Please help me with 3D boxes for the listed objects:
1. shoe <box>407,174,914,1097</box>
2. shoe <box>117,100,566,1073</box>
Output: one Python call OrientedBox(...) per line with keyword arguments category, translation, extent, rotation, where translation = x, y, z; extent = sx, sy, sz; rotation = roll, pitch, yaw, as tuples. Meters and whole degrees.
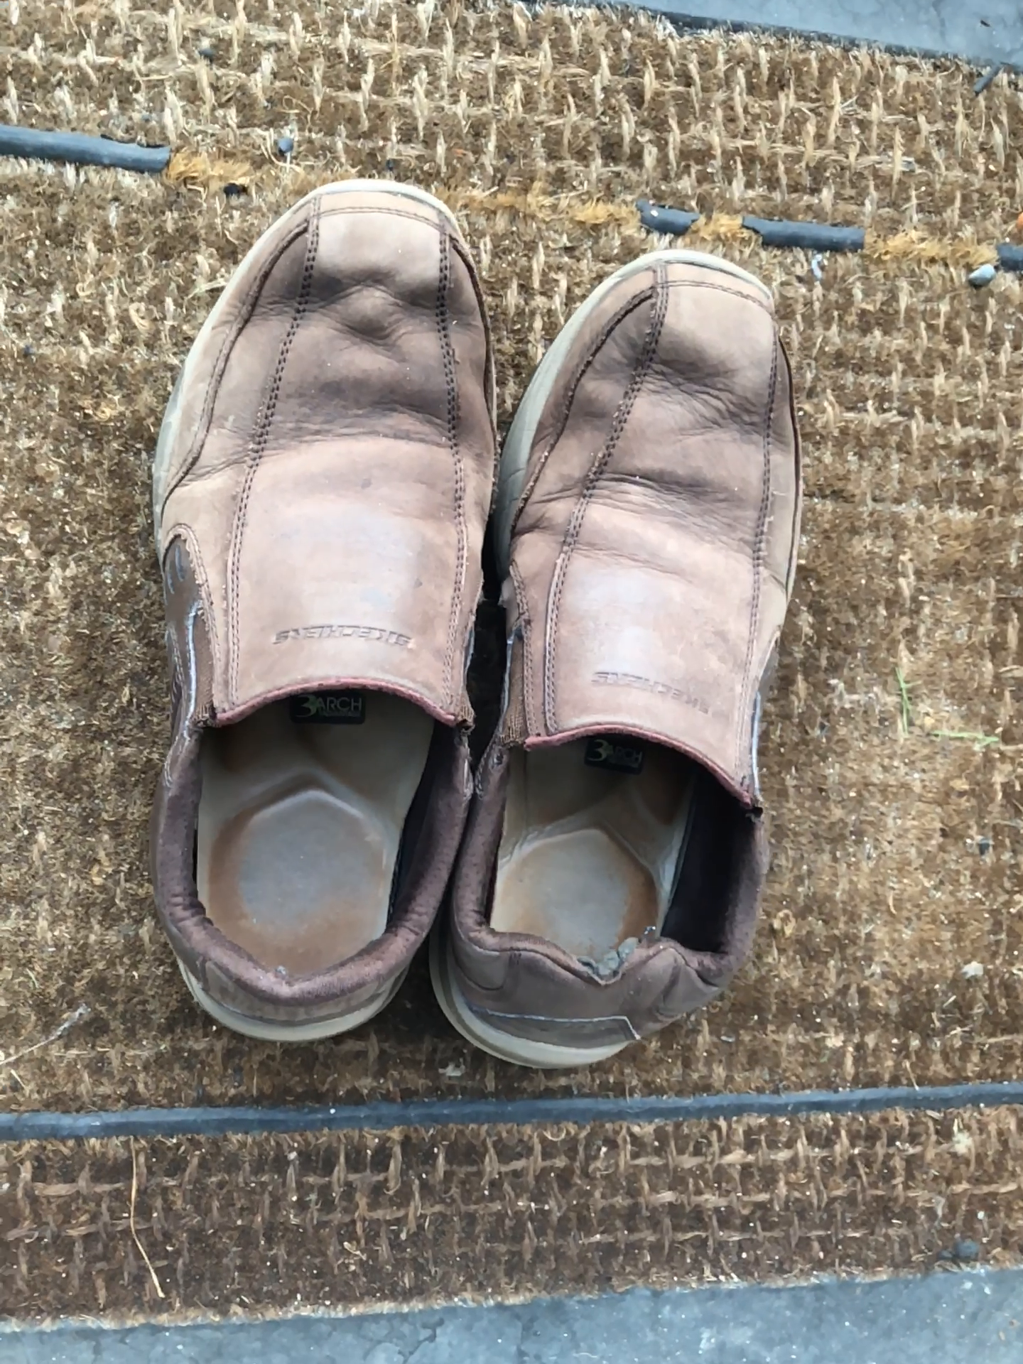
OrientedBox(category="shoe", translation=(0.040, -0.011, 0.376), extent=(0.100, 0.100, 0.254), rotation=(9, 92, -11))
OrientedBox(category="shoe", translation=(-0.057, -0.024, 0.372), extent=(0.100, 0.100, 0.267), rotation=(6, 93, -11))
